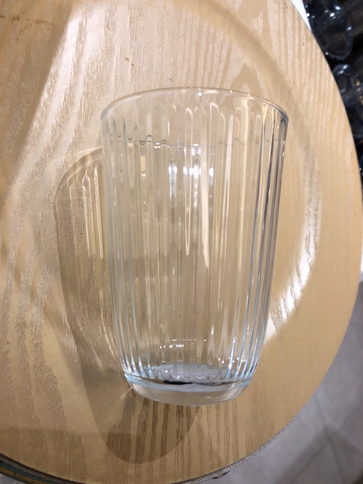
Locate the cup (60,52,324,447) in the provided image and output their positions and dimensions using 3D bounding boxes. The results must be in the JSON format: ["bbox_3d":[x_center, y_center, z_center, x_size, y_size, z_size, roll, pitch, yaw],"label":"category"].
[{"bbox_3d":[0.002,0.004,0.188,0.090,0.070,0.130,1,83,-35],"label":"cup"}]
